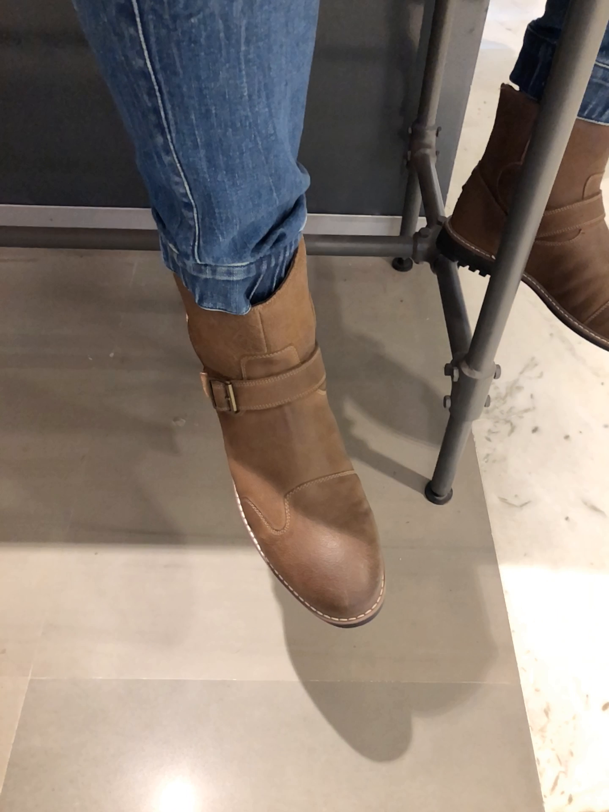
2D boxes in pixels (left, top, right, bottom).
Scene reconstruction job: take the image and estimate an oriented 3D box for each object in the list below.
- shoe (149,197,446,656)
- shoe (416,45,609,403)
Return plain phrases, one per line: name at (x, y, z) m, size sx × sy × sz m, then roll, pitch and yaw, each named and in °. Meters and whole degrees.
shoe at (-0.016, 0.014, 0.526) m, size 0.109 × 0.206 × 0.275 m, roll -18°, pitch 54°, yaw -11°
shoe at (0.311, -0.191, 0.691) m, size 0.324 × 0.206 × 0.114 m, roll 36°, pitch 47°, yaw 17°
